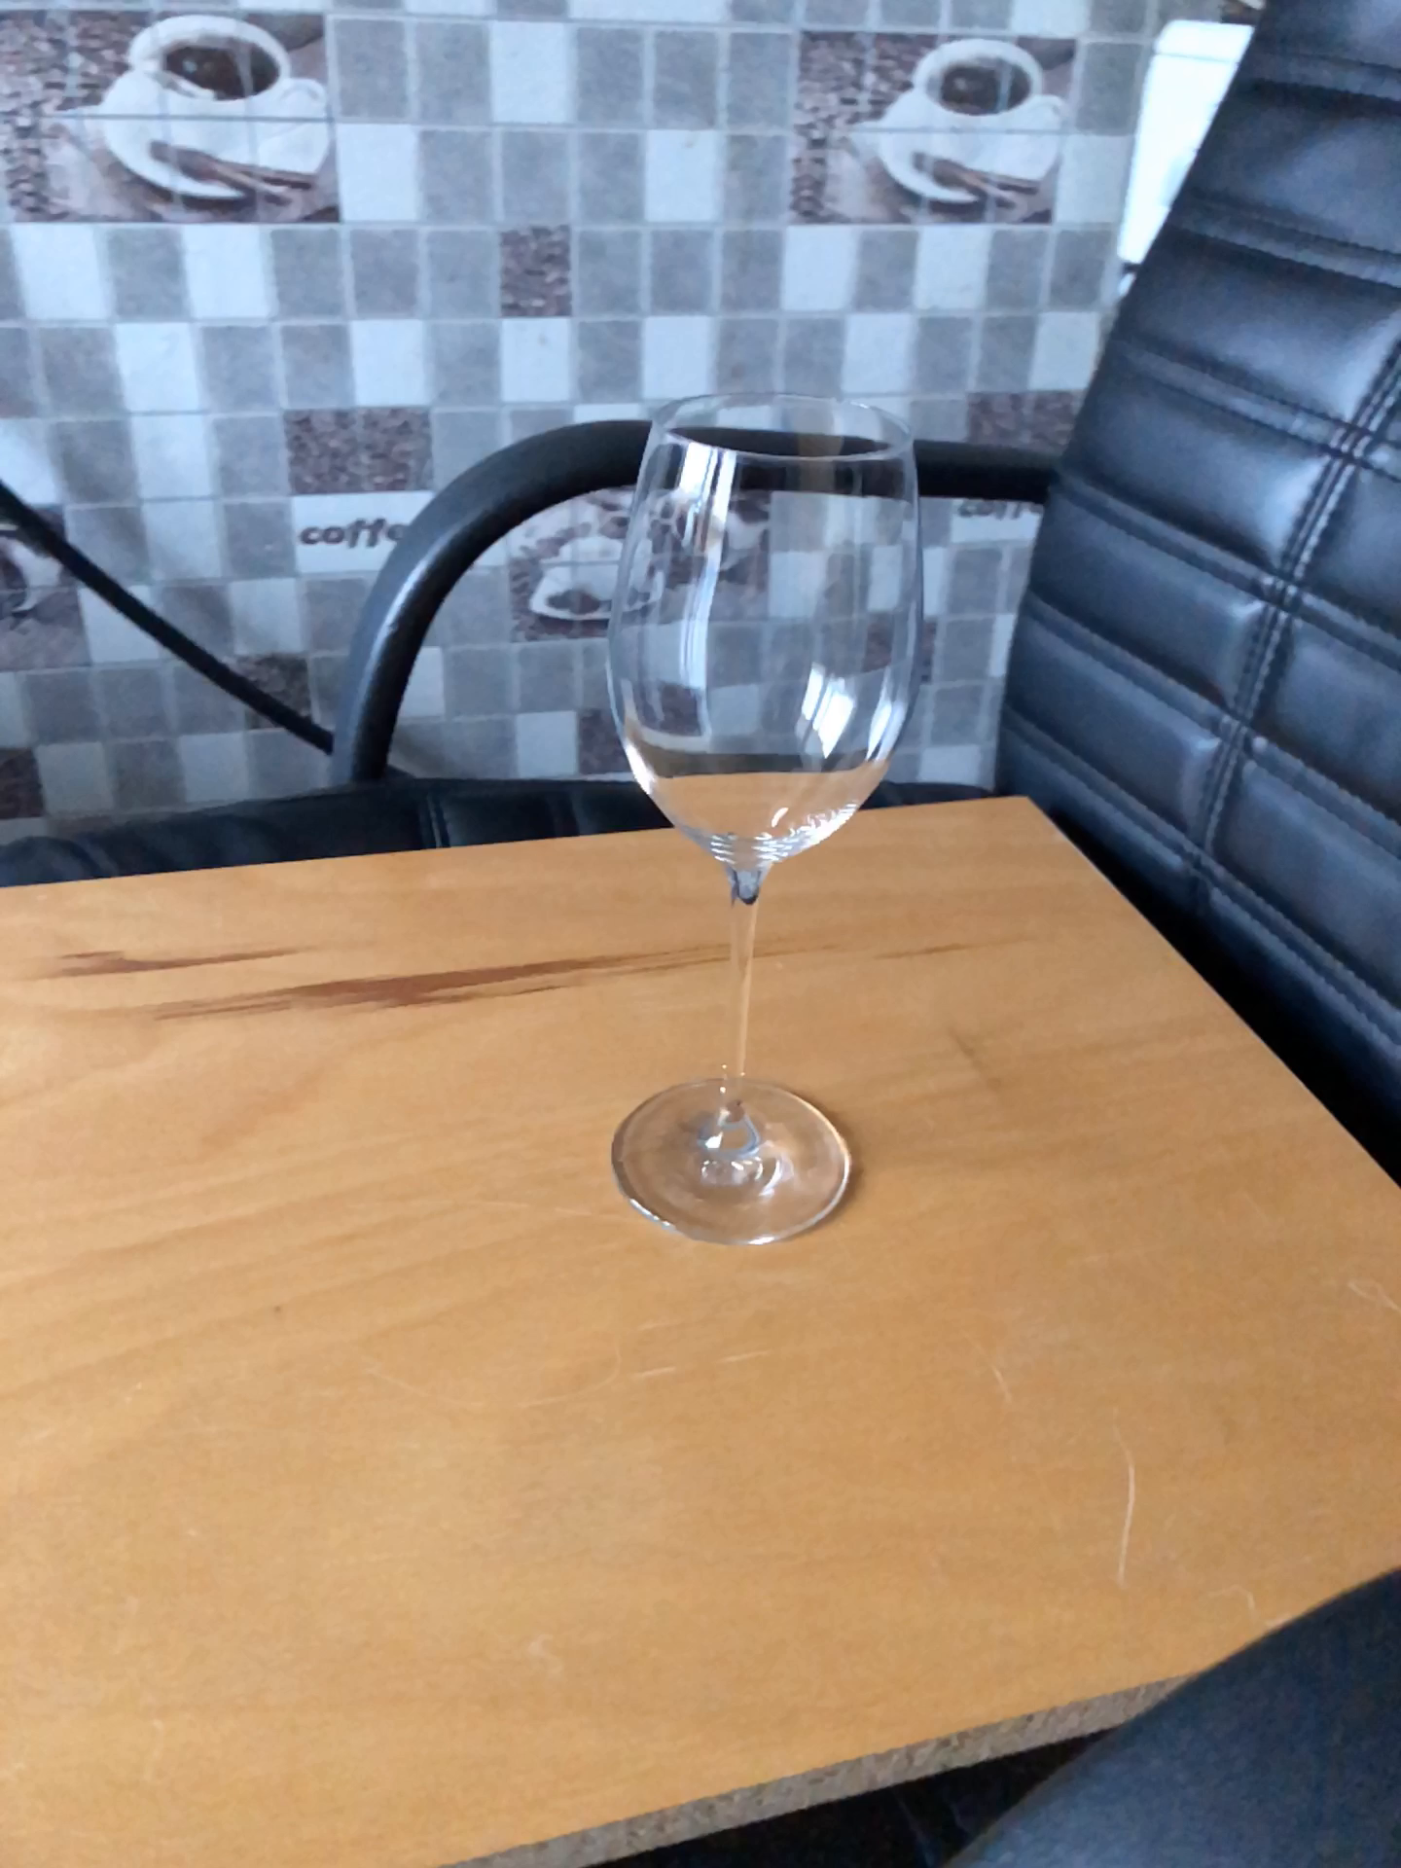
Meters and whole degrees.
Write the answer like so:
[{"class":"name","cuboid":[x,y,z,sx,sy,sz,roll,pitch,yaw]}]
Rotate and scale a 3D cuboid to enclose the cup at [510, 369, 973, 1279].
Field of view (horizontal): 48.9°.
[{"class":"cup","cuboid":[0.010,-0.027,0.418,0.089,0.218,0.090,2,31,-1]}]
